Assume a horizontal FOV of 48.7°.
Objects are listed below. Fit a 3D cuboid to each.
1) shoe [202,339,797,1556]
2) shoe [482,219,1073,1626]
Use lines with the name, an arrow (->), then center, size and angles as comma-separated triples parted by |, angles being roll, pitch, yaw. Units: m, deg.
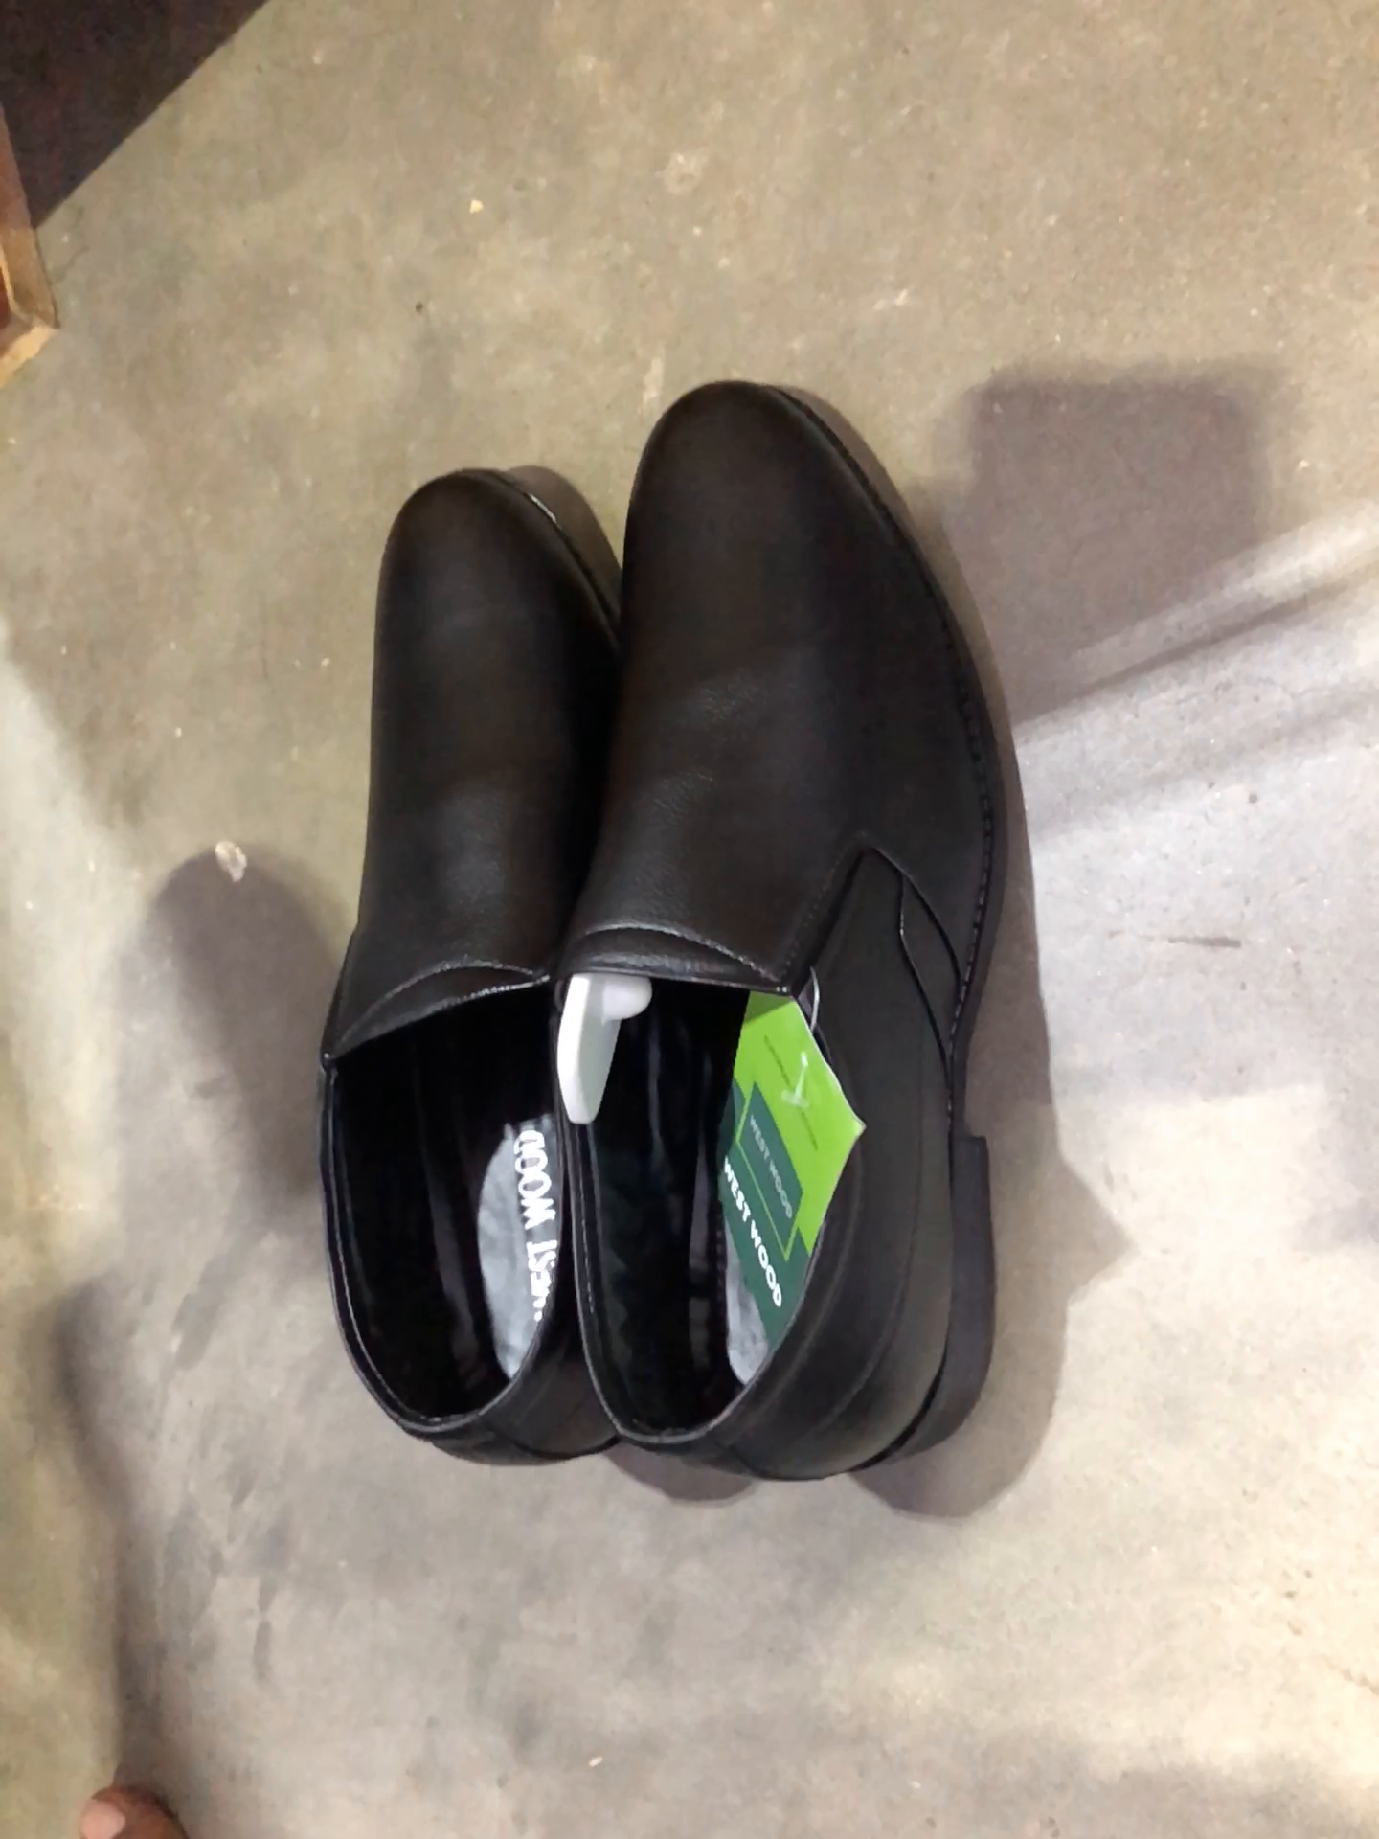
shoe -> -0.055, 0.010, 0.438 | 0.100, 0.100, 0.300 | -11, 81, 30
shoe -> 0.022, 0.001, 0.387 | 0.100, 0.090, 0.300 | -7, 83, 31
